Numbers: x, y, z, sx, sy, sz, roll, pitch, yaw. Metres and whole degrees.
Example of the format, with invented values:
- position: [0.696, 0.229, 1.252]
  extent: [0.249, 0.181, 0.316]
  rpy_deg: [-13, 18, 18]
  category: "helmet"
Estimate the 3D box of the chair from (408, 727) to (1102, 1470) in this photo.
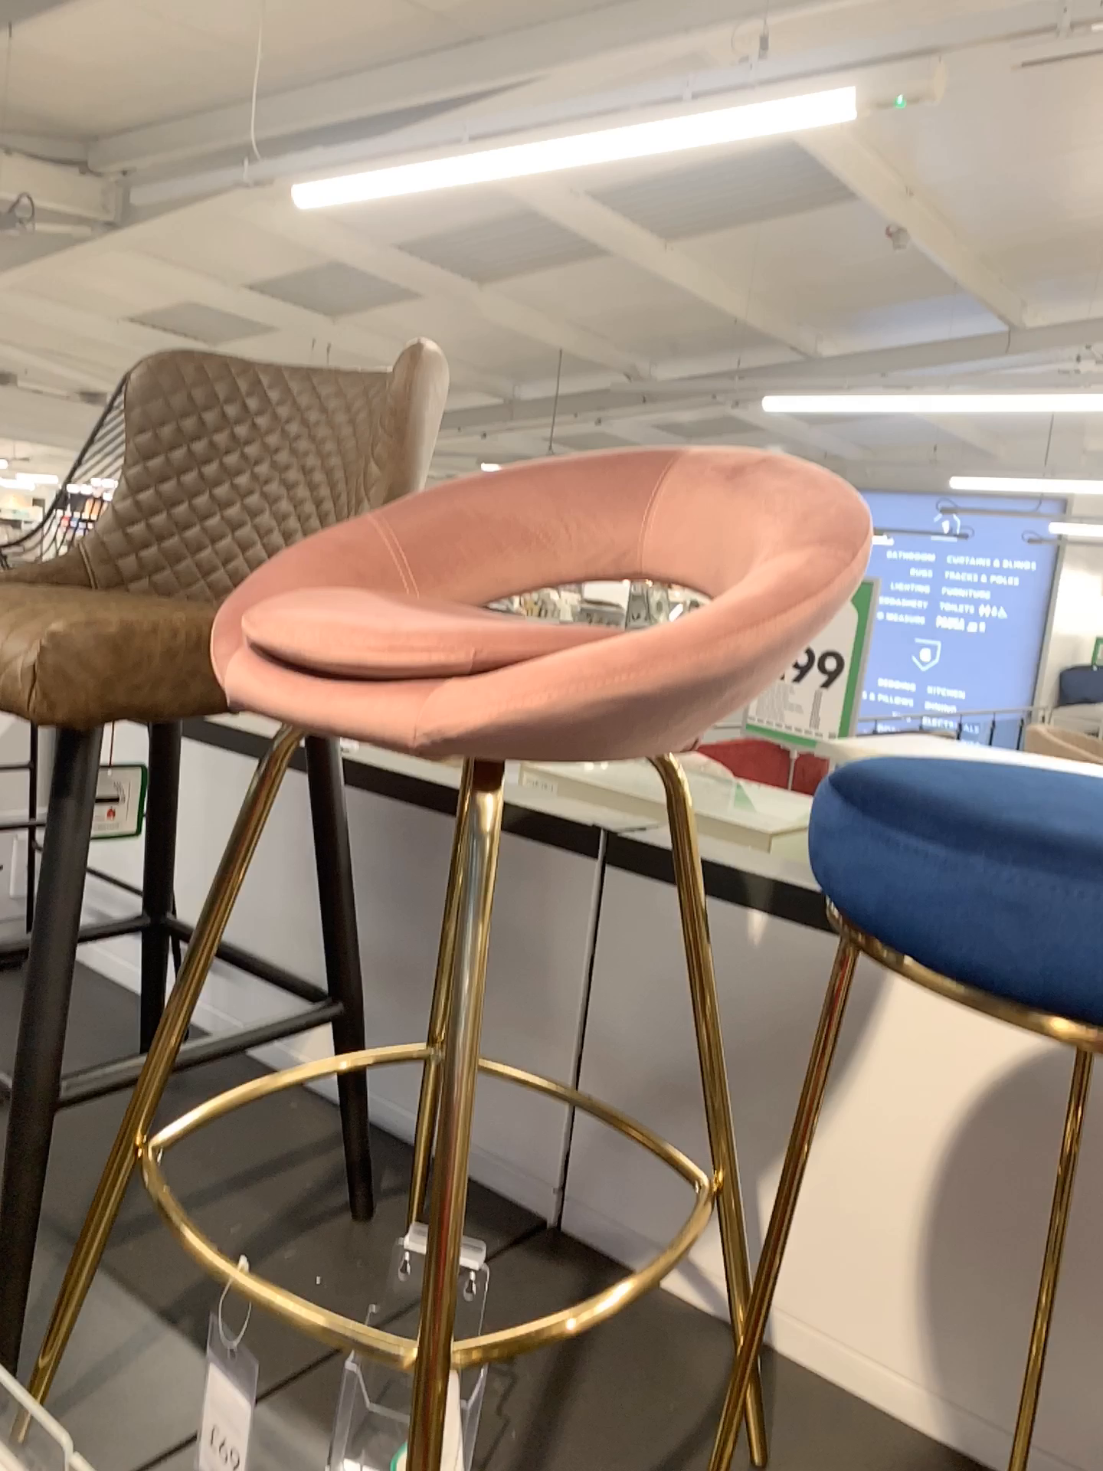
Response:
- position: [0.269, 0.343, 0.614]
  extent: [0.463, 0.619, 0.431]
  rpy_deg: [13, 9, 41]
  category: "chair"

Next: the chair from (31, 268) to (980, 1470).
- position: [-0.053, 0.155, 0.914]
  extent: [0.493, 0.858, 0.461]
  rpy_deg: [13, 9, 41]
  category: "chair"

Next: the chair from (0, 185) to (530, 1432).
- position: [-0.413, 0.032, 1.177]
  extent: [0.503, 0.958, 0.451]
  rpy_deg: [11, 8, 35]
  category: "chair"
